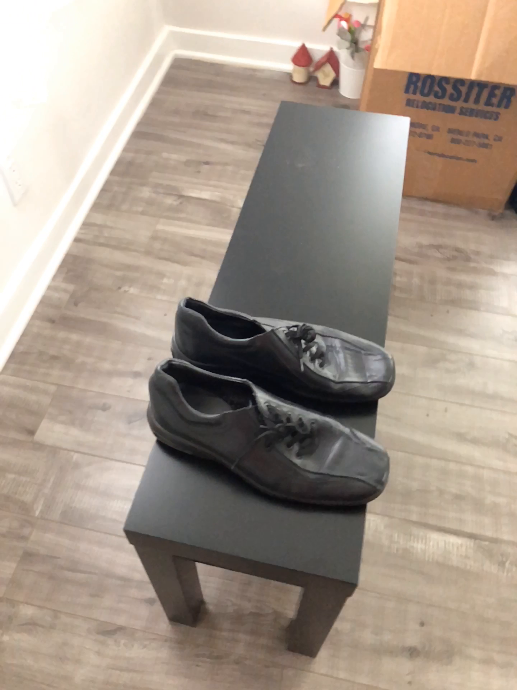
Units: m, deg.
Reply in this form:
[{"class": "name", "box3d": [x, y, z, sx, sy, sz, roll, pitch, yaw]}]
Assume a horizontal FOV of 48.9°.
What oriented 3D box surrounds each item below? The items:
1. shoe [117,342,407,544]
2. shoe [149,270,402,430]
[{"class": "shoe", "box3d": [0.005, 0.109, 0.643, 0.286, 0.110, 0.110, 15, 54, 9]}, {"class": "shoe", "box3d": [0.023, 0.006, 0.712, 0.283, 0.110, 0.110, 10, 54, 5]}]
